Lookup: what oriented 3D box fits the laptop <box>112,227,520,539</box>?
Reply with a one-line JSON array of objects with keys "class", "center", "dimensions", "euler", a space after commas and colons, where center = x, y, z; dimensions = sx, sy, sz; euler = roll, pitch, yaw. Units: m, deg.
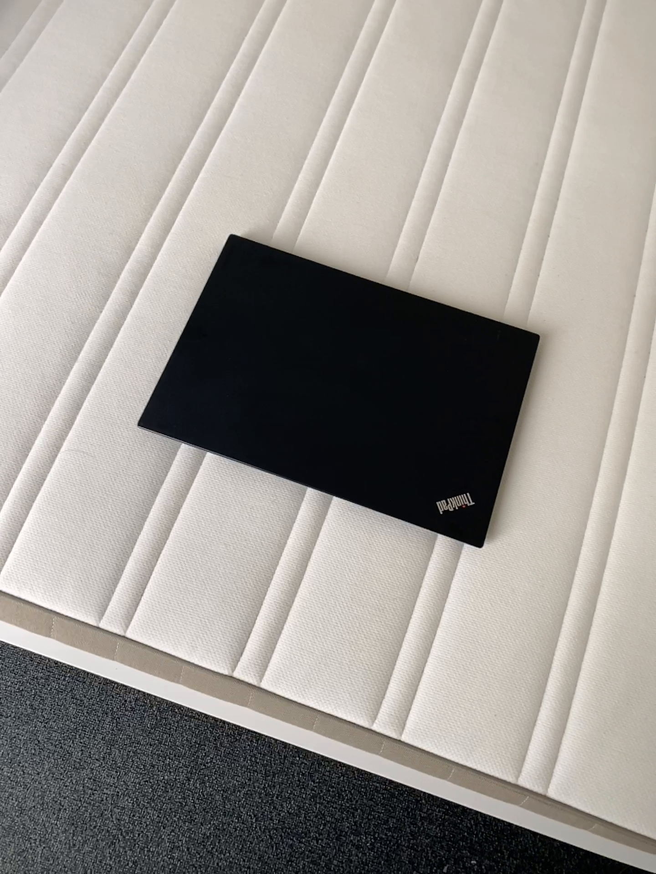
[{"class": "laptop", "center": [-0.002, -0.062, 0.634], "dimensions": [0.325, 0.012, 0.226], "euler": [19, 67, 4]}]
